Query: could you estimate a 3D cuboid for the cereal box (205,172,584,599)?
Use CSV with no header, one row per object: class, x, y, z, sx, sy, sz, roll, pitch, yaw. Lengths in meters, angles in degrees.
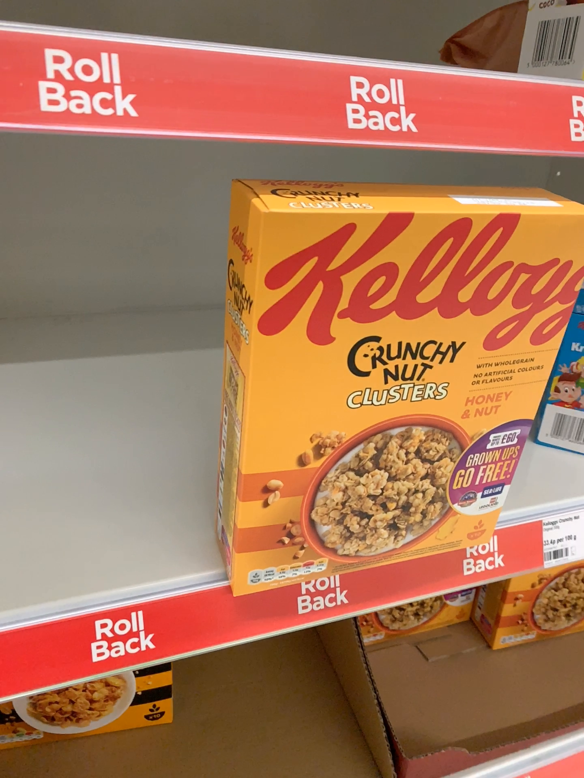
cereal box,0.057,0.000,0.358,0.200,0.228,0.060,-6,31,-21
